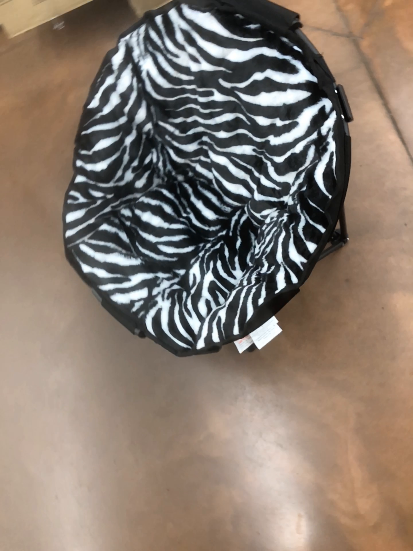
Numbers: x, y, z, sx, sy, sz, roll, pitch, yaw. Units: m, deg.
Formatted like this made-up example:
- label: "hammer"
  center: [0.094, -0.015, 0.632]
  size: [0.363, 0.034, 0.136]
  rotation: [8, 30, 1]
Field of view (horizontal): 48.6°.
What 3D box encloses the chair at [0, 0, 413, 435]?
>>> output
- label: "chair"
  center: [0.053, -0.131, 0.941]
  size: [0.611, 0.599, 0.600]
  rotation: [38, 88, 25]
